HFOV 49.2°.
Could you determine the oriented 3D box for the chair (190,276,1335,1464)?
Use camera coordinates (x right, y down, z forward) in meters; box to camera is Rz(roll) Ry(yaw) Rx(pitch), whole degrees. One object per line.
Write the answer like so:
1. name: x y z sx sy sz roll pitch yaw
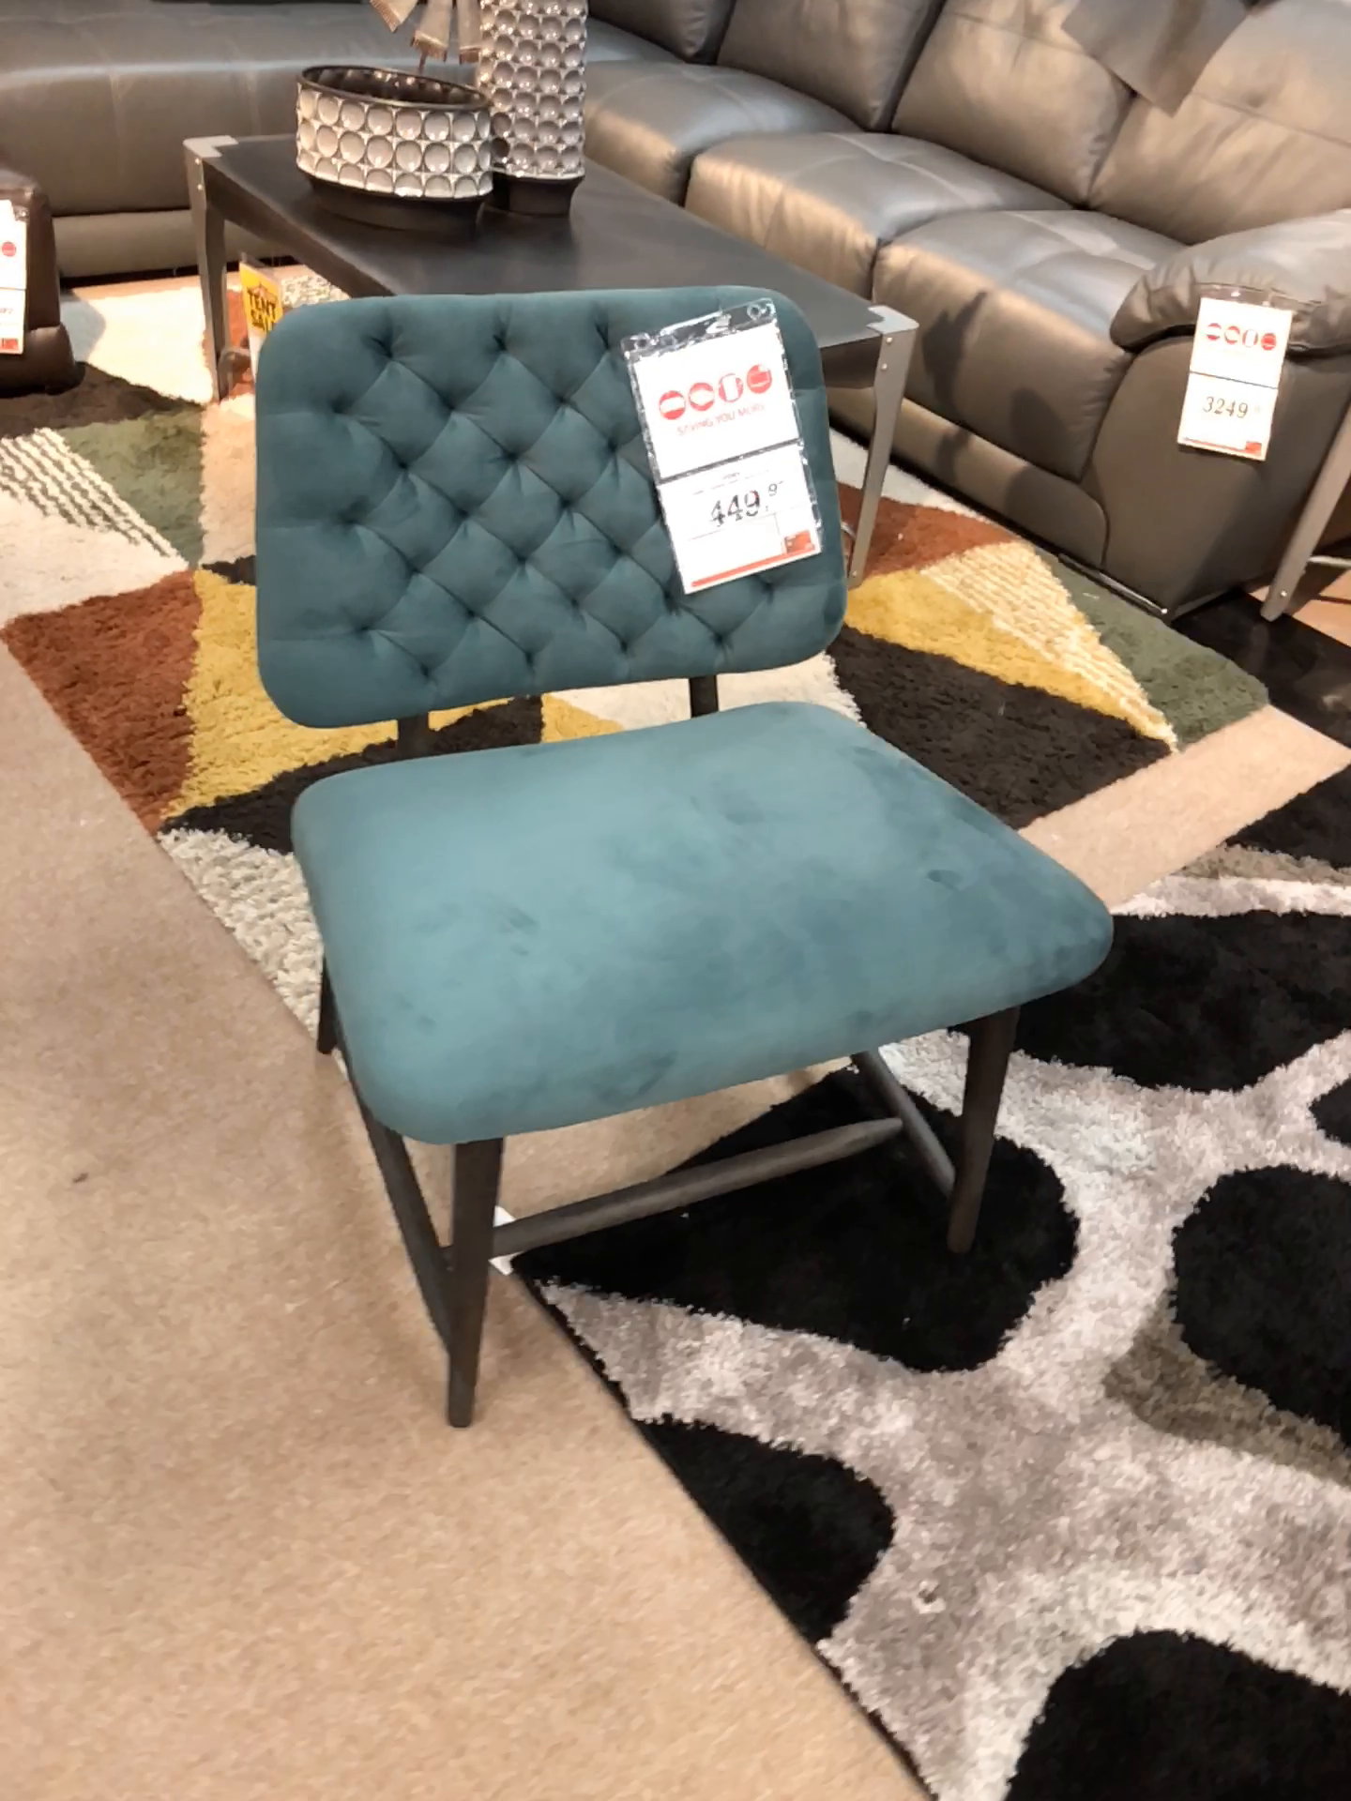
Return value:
1. chair: -0.012 -0.052 1.274 0.639 0.765 0.534 -11 44 -24
